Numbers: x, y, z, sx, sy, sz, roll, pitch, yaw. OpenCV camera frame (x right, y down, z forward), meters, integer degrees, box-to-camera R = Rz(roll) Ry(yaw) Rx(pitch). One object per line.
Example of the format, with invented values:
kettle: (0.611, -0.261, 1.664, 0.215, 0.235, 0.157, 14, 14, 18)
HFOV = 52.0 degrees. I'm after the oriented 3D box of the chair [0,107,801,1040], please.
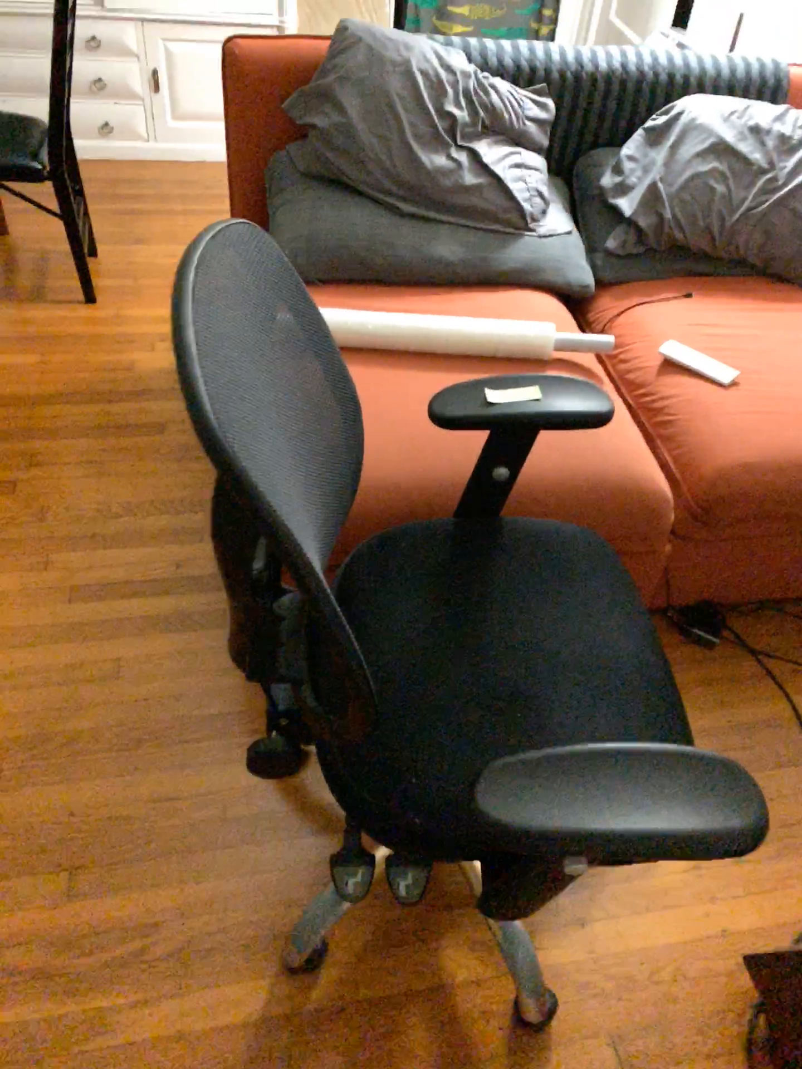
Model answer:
chair: (0.045, 0.097, 1.023, 0.660, 0.975, 0.643, 1, 43, 2)
